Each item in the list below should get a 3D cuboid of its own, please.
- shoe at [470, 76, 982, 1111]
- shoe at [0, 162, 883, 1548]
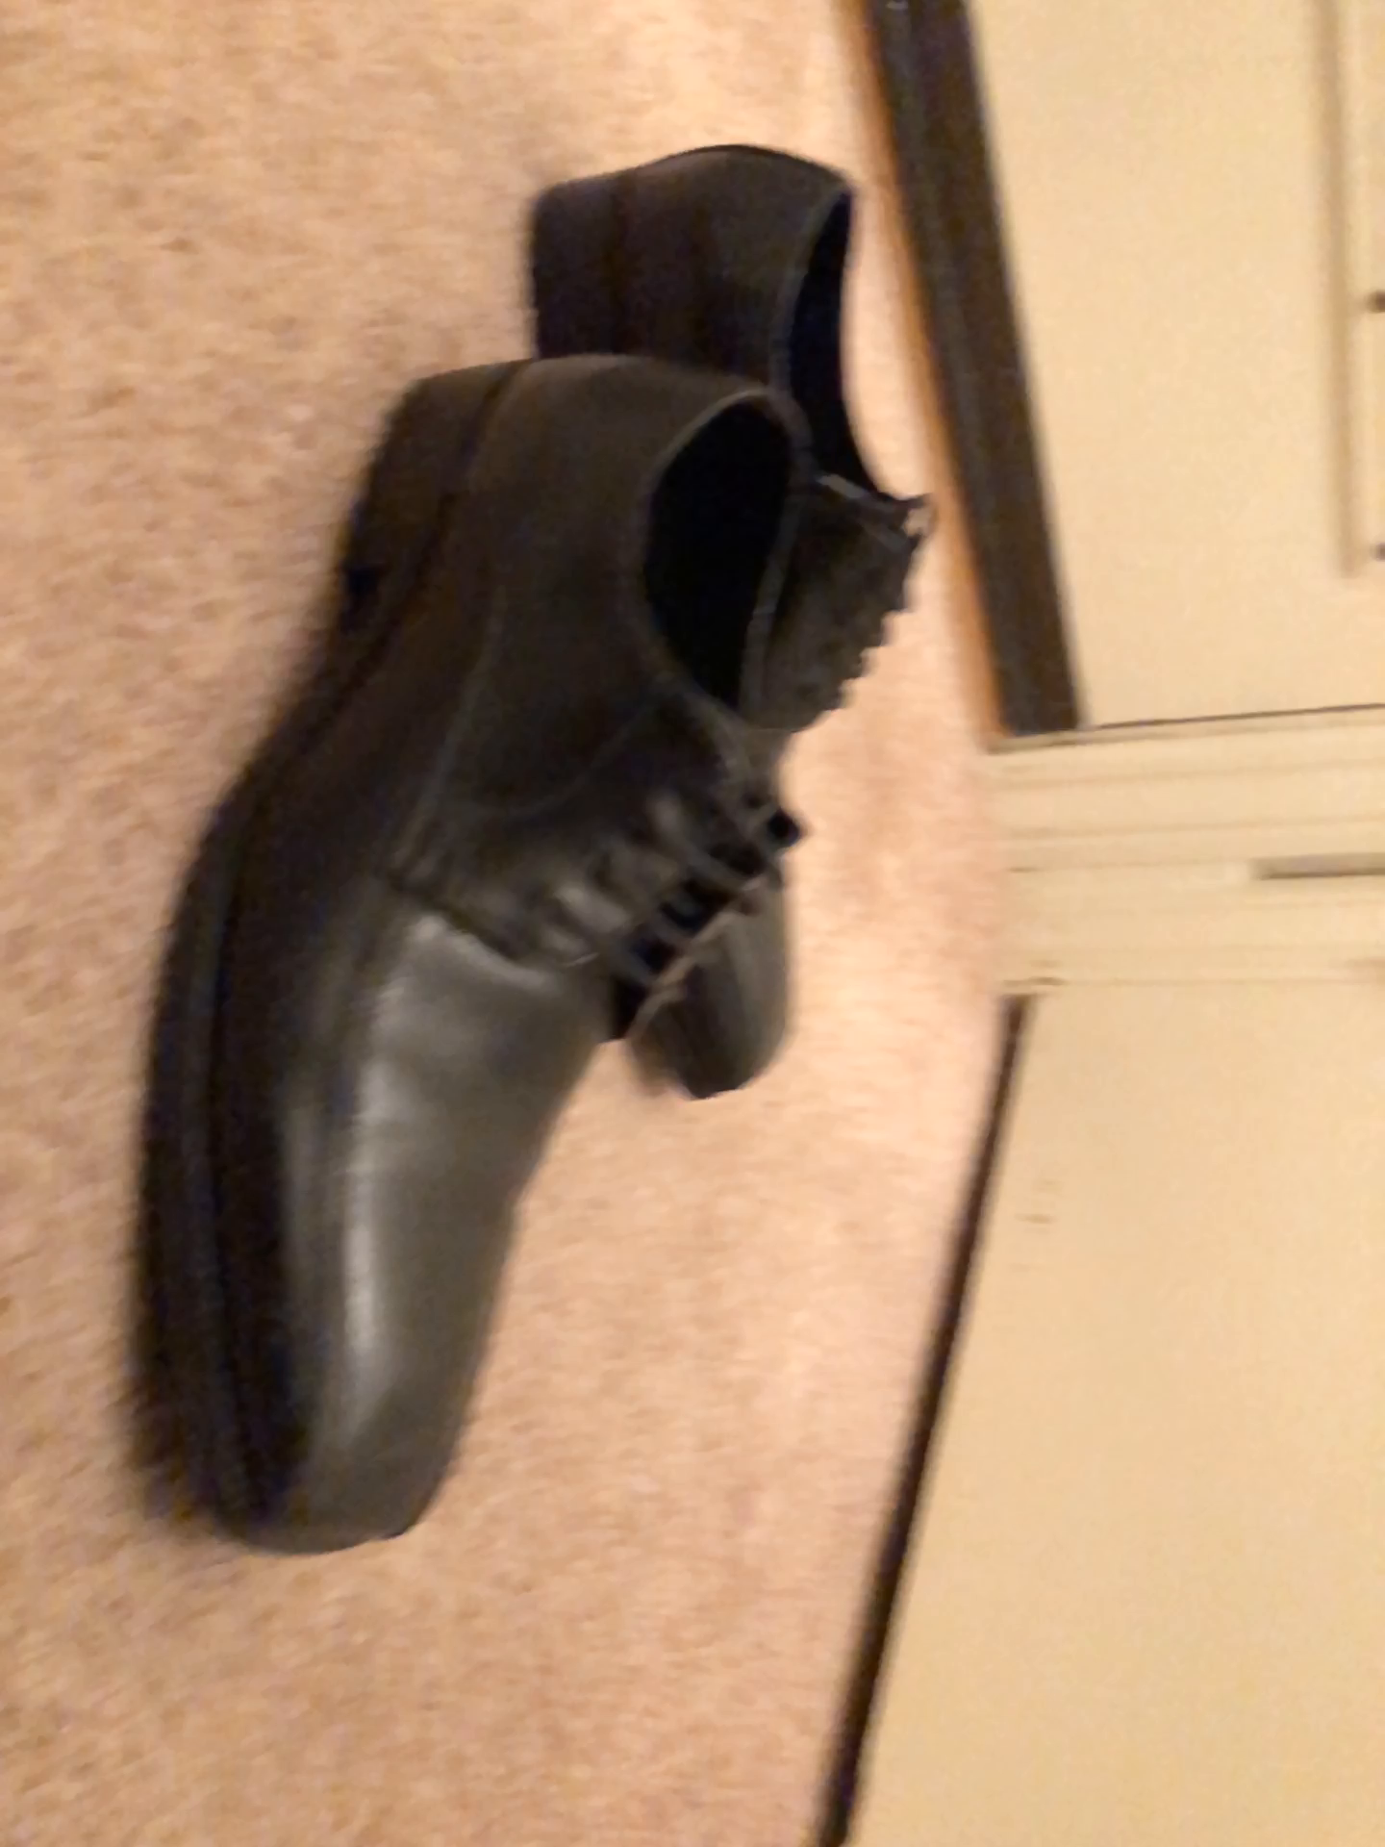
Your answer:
[{"bbox_3d":[0.020,-0.097,0.518,0.116,0.110,0.296,-26,112,-64],"label":"shoe"},{"bbox_3d":[-0.037,-0.017,0.355,0.110,0.107,0.283,47,47,-56],"label":"shoe"}]
